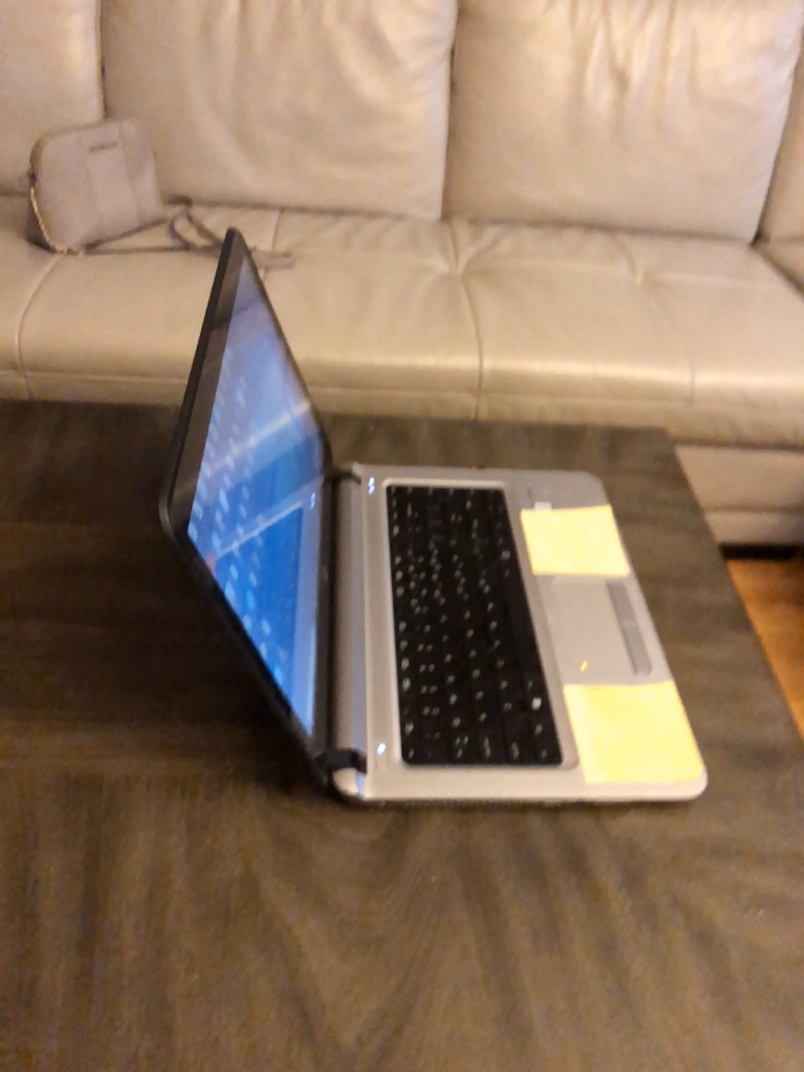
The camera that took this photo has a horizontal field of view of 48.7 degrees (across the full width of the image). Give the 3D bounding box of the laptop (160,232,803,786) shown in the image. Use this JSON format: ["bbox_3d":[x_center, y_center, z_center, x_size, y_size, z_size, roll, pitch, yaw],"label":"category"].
[{"bbox_3d":[0.032,-0.031,0.596,0.306,0.208,0.321,2,40,-5],"label":"laptop"}]
